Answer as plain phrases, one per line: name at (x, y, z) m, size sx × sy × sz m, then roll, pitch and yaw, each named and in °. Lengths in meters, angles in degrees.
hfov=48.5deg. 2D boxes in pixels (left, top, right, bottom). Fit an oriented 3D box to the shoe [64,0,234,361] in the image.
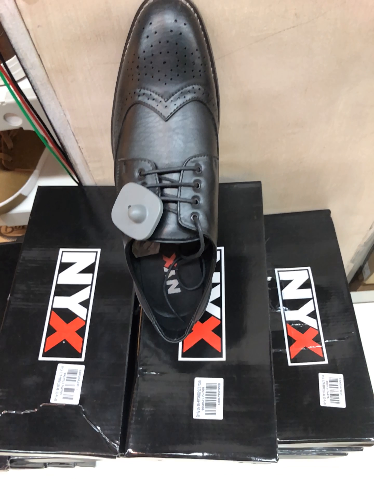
shoe at (-0.019, -0.060, 0.360) m, size 0.106 × 0.296 × 0.107 m, roll -1°, pitch 20°, yaw 2°
